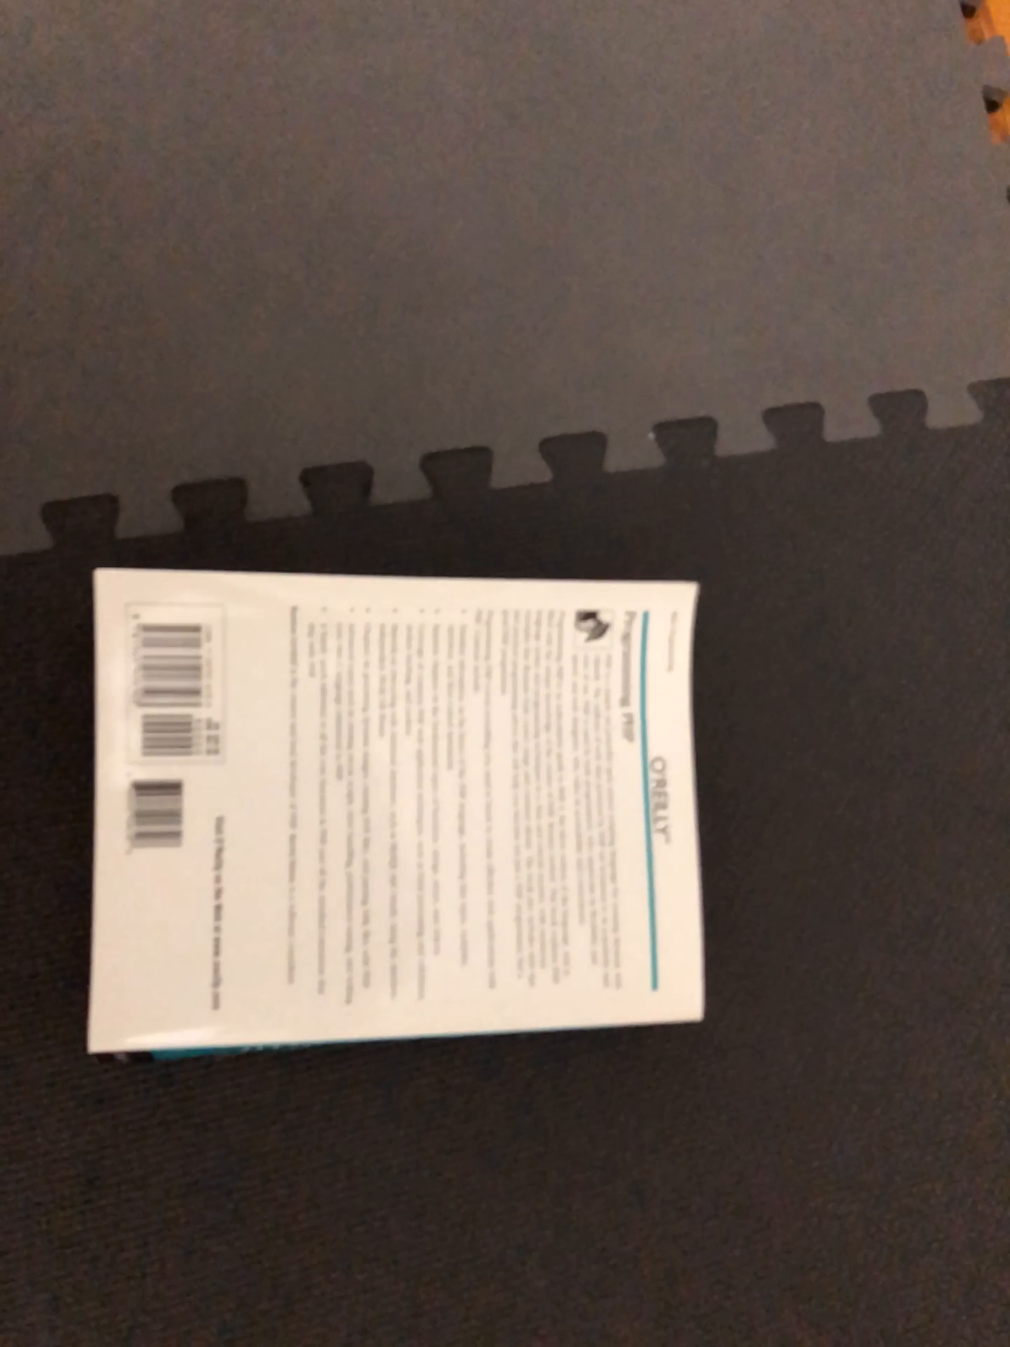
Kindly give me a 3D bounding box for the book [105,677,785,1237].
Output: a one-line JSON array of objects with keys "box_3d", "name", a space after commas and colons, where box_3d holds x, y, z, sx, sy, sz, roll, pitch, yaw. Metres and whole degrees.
[{"box_3d": [-0.023, 0.121, 0.517, 0.290, 0.040, 0.230, 1, 82, -8], "name": "book"}]
